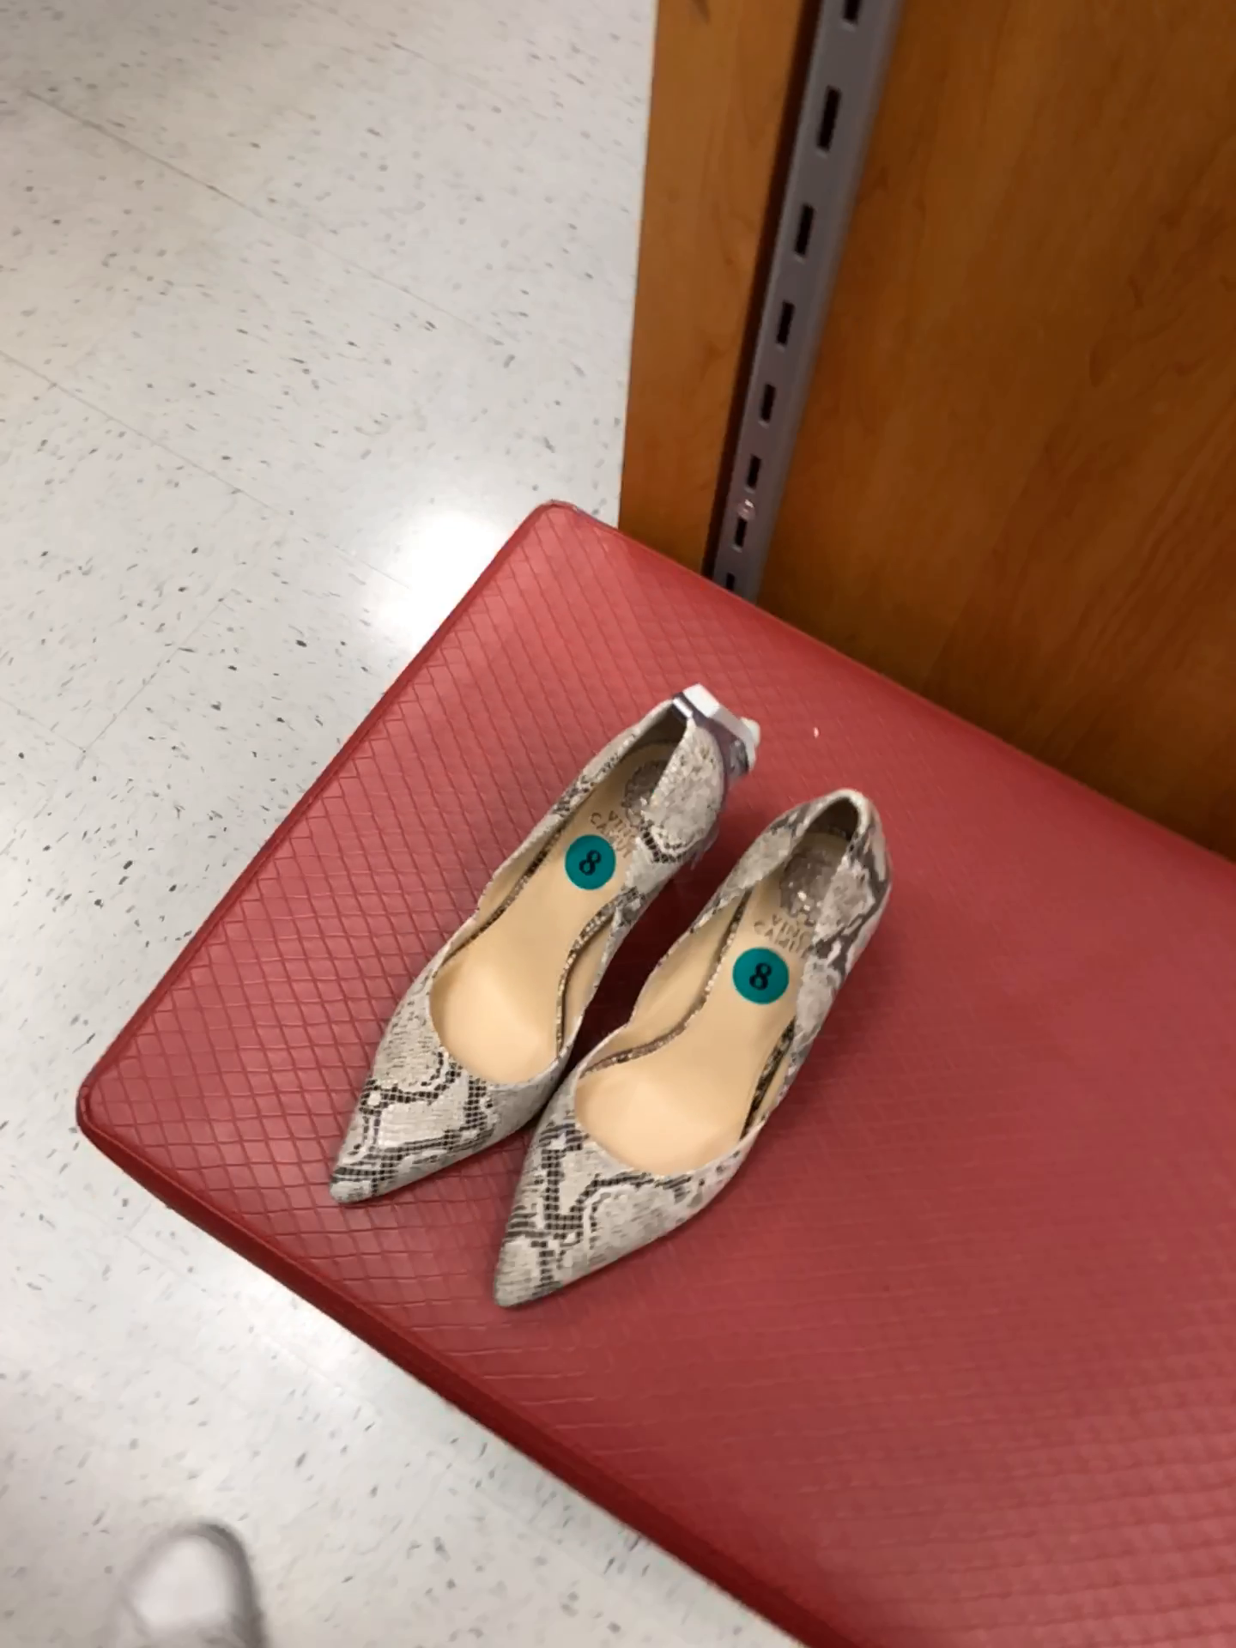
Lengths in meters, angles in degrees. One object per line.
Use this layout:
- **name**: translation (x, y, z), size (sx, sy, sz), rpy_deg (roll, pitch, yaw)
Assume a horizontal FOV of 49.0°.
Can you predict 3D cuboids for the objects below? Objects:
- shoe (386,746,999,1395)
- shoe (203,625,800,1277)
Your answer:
- **shoe**: translation (0.034, 0.103, 0.575), size (0.093, 0.102, 0.259), rpy_deg (40, 70, 14)
- **shoe**: translation (-0.041, 0.055, 0.593), size (0.092, 0.112, 0.262), rpy_deg (36, 69, 12)
